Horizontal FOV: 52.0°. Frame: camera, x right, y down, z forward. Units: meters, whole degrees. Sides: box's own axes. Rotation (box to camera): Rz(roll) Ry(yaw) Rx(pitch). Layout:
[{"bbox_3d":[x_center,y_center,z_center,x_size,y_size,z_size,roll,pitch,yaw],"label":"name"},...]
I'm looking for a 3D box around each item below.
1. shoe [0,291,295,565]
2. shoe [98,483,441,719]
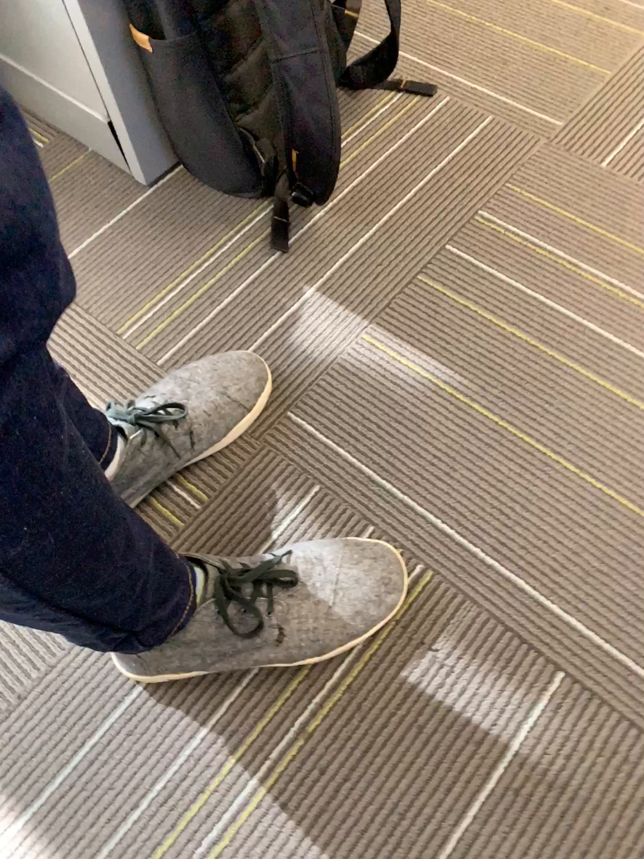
[{"bbox_3d":[-0.191,-0.008,0.755,0.301,0.087,0.134,-41,66,-16],"label":"shoe"},{"bbox_3d":[-0.051,0.169,0.650,0.299,0.087,0.134,-15,62,-2],"label":"shoe"}]
